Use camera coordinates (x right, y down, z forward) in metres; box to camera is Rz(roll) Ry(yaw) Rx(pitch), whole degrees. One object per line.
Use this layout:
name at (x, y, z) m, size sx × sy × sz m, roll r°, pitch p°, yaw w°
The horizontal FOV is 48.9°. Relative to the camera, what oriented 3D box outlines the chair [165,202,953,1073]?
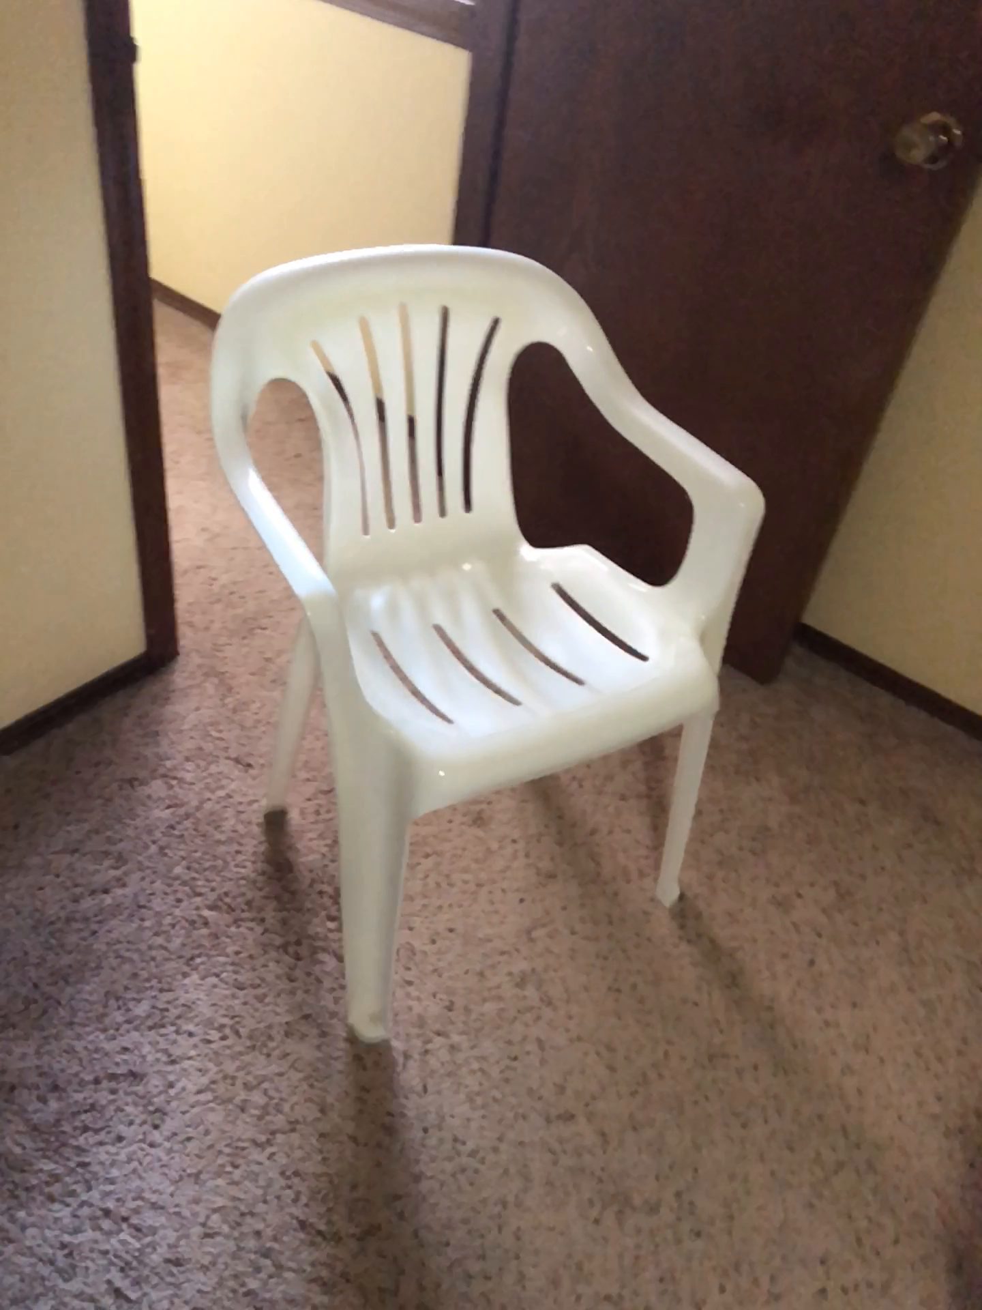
chair at (0.011, -0.033, 1.253) m, size 0.581 × 0.768 × 0.471 m, roll -16°, pitch 47°, yaw -28°
